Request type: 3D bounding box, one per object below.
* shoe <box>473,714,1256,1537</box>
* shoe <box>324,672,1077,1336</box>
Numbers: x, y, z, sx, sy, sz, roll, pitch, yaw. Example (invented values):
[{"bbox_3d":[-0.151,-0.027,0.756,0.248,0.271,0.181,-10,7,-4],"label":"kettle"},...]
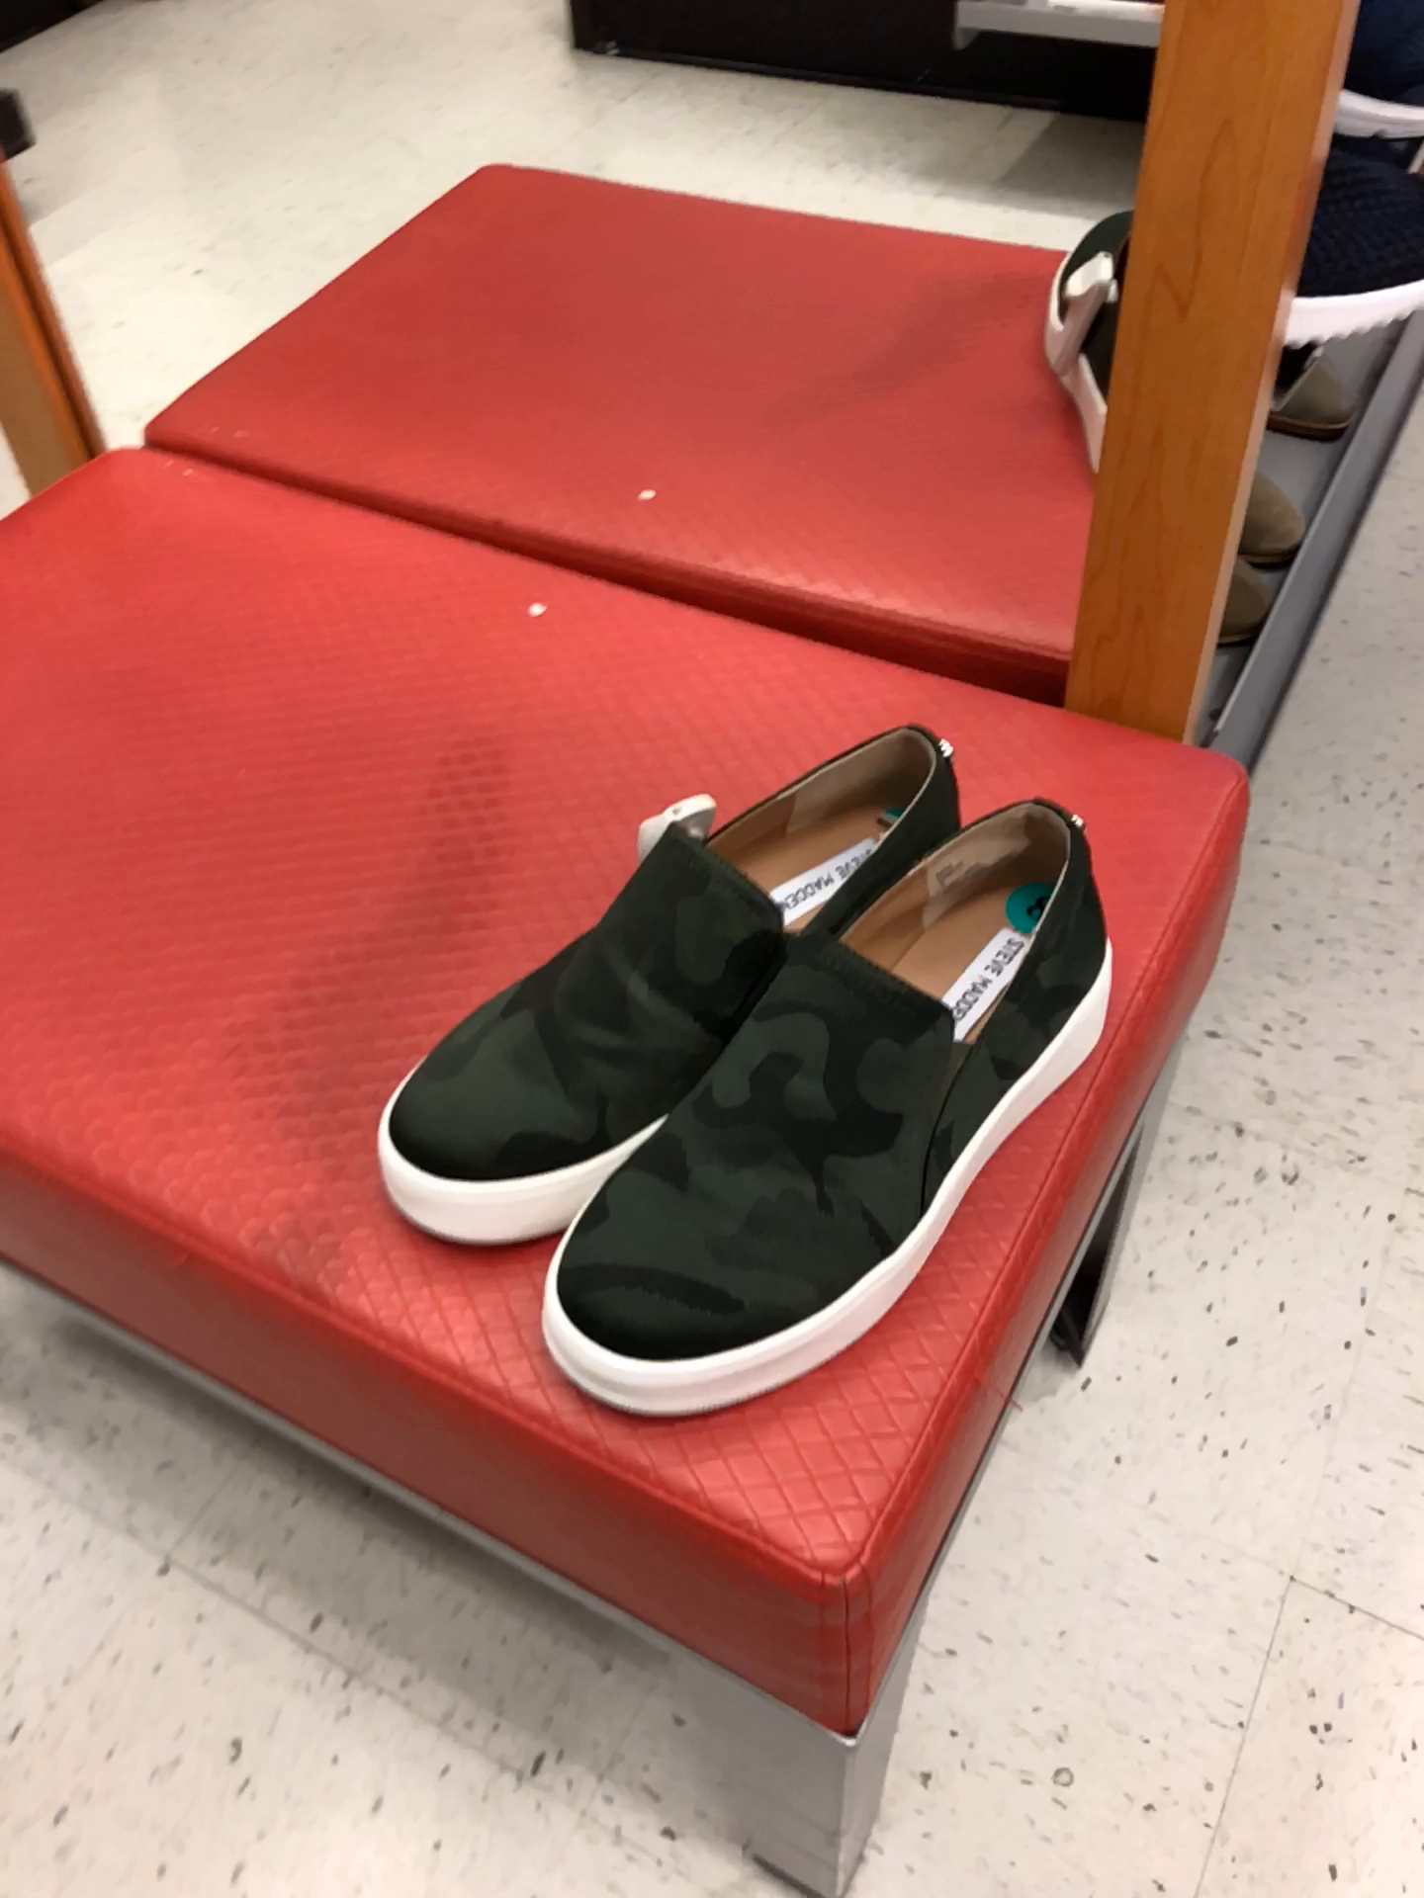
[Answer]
[{"bbox_3d":[0.062,0.044,0.535,0.105,0.086,0.276,31,56,28],"label":"shoe"},{"bbox_3d":[0.007,0.011,0.574,0.276,0.086,0.077,-34,53,-24],"label":"shoe"}]
